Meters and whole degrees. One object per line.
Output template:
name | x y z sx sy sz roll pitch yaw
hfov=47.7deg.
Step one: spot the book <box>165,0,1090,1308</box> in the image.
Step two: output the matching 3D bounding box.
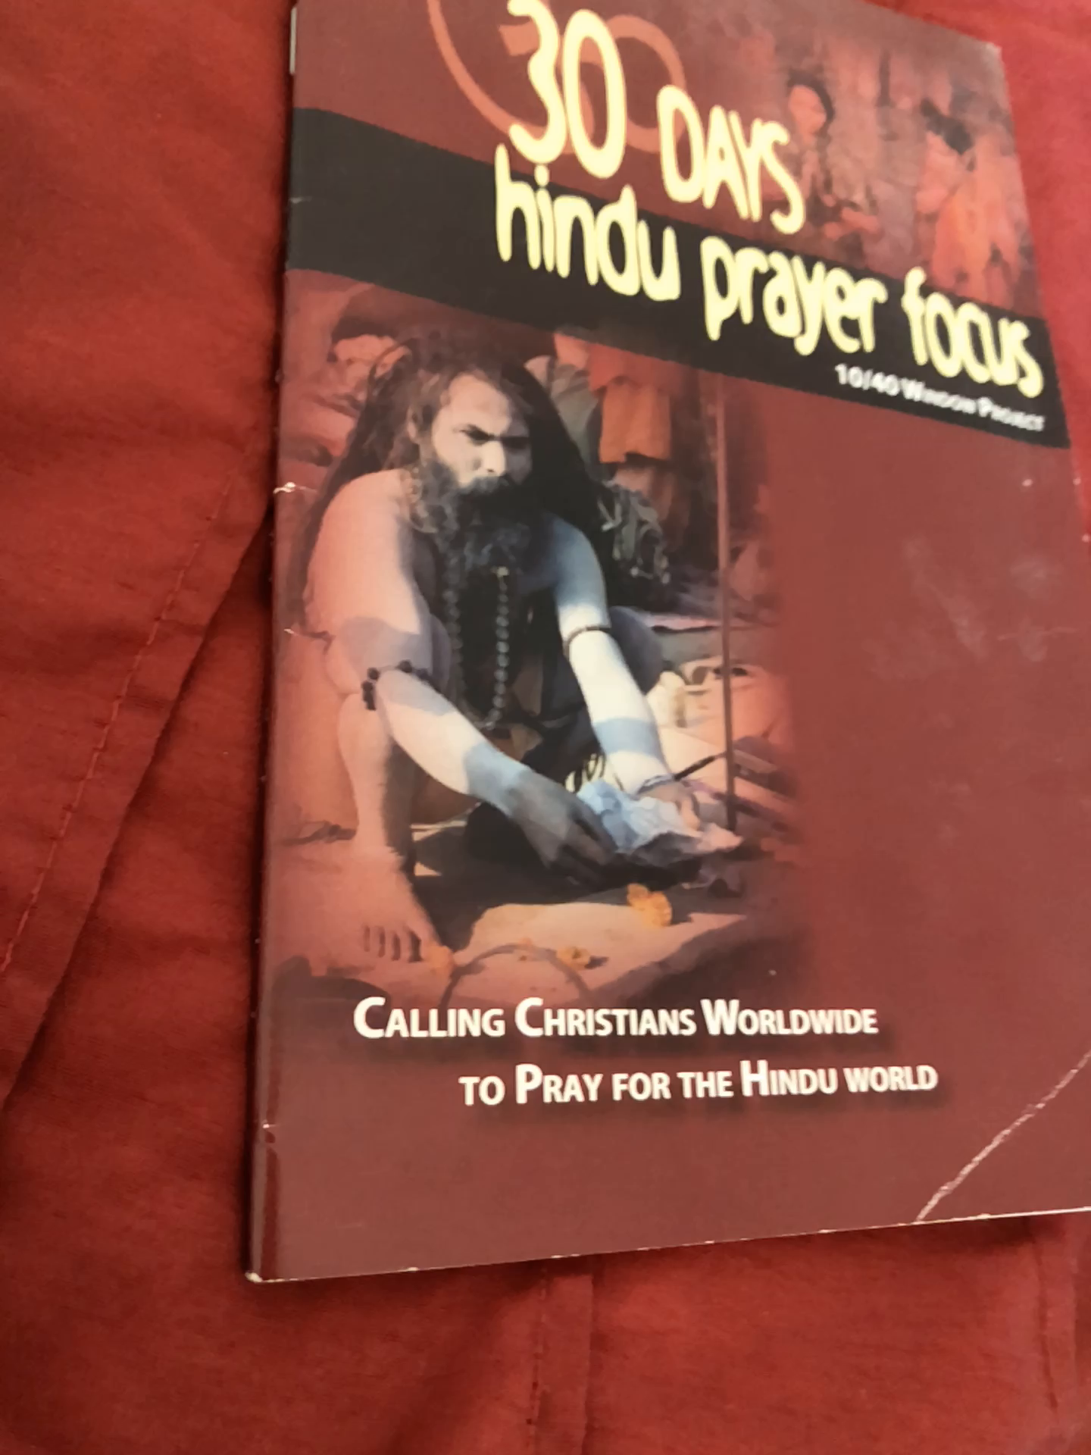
book | 0.024 -0.037 0.183 0.142 0.010 0.210 6 71 -25
